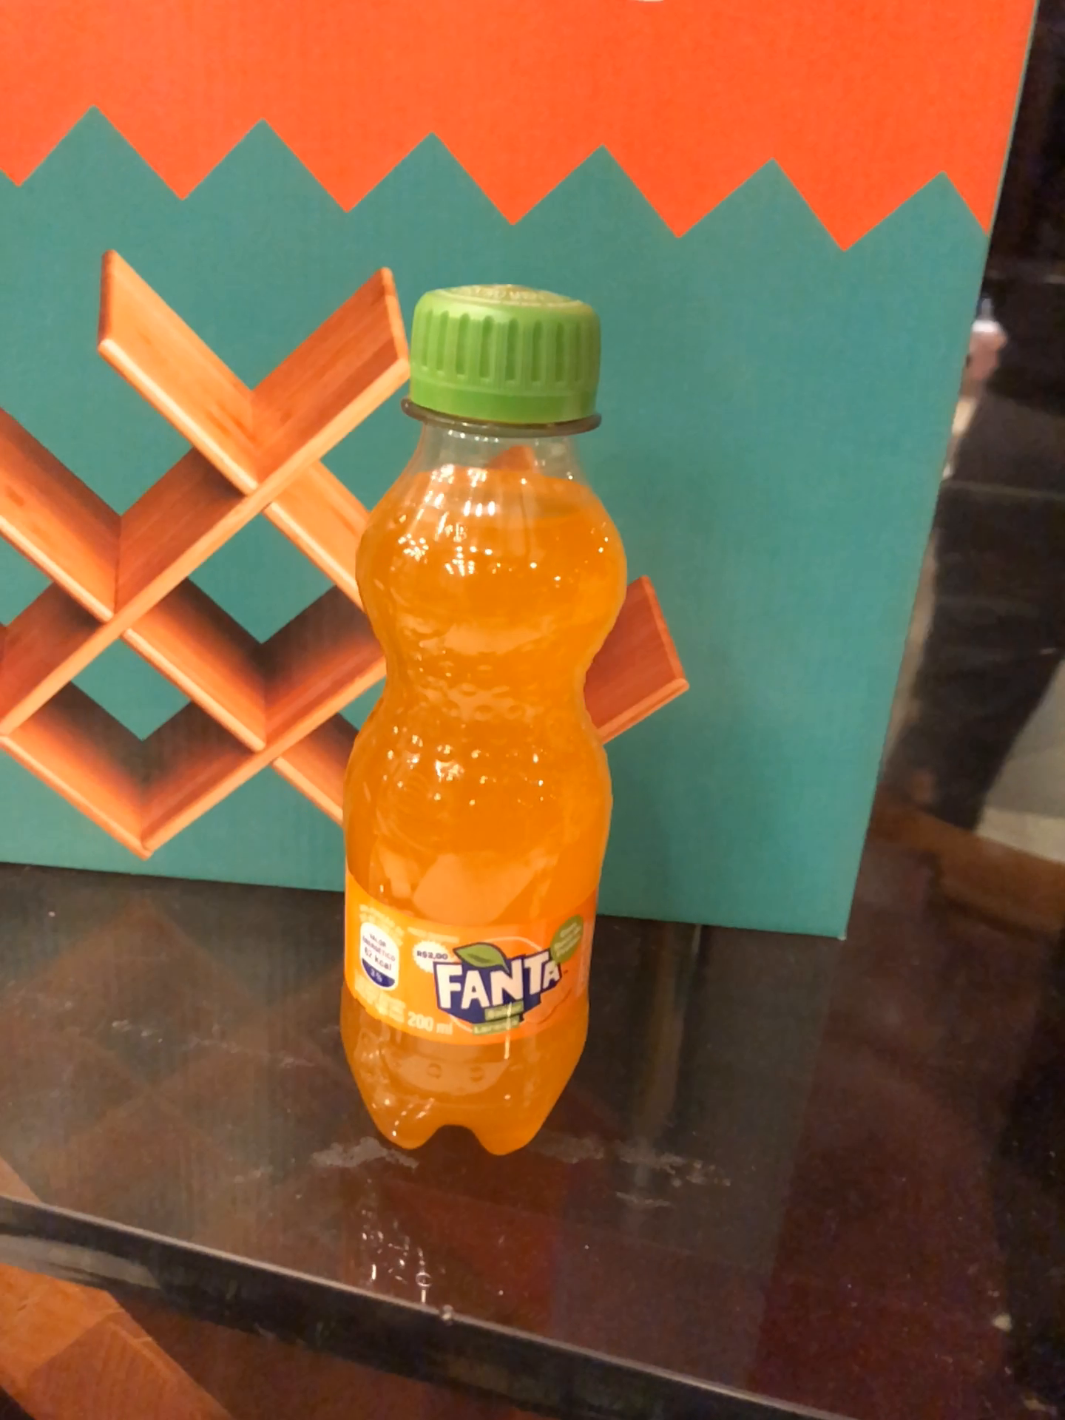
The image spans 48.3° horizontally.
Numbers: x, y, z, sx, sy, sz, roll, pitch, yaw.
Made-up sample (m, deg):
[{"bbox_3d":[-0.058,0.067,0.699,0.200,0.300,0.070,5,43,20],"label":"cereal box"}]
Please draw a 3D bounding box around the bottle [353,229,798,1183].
[{"bbox_3d":[-0.002,0.001,0.217,0.060,0.159,0.060,3,24,-1],"label":"bottle"}]
